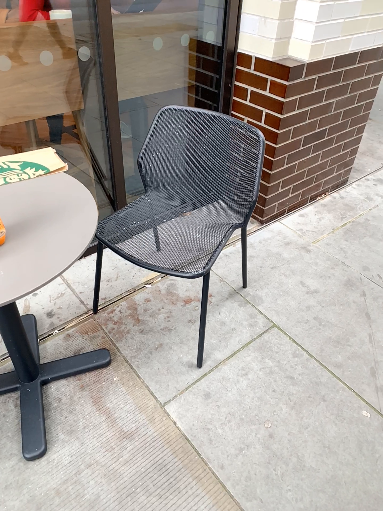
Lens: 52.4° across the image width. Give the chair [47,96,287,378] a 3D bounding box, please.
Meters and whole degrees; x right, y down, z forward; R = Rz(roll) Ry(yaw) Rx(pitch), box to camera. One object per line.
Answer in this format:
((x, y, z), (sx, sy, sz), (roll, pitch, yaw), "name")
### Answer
((-0.072, -0.089, 1.528), (0.591, 0.797, 0.544), (21, 42, 20), "chair")
